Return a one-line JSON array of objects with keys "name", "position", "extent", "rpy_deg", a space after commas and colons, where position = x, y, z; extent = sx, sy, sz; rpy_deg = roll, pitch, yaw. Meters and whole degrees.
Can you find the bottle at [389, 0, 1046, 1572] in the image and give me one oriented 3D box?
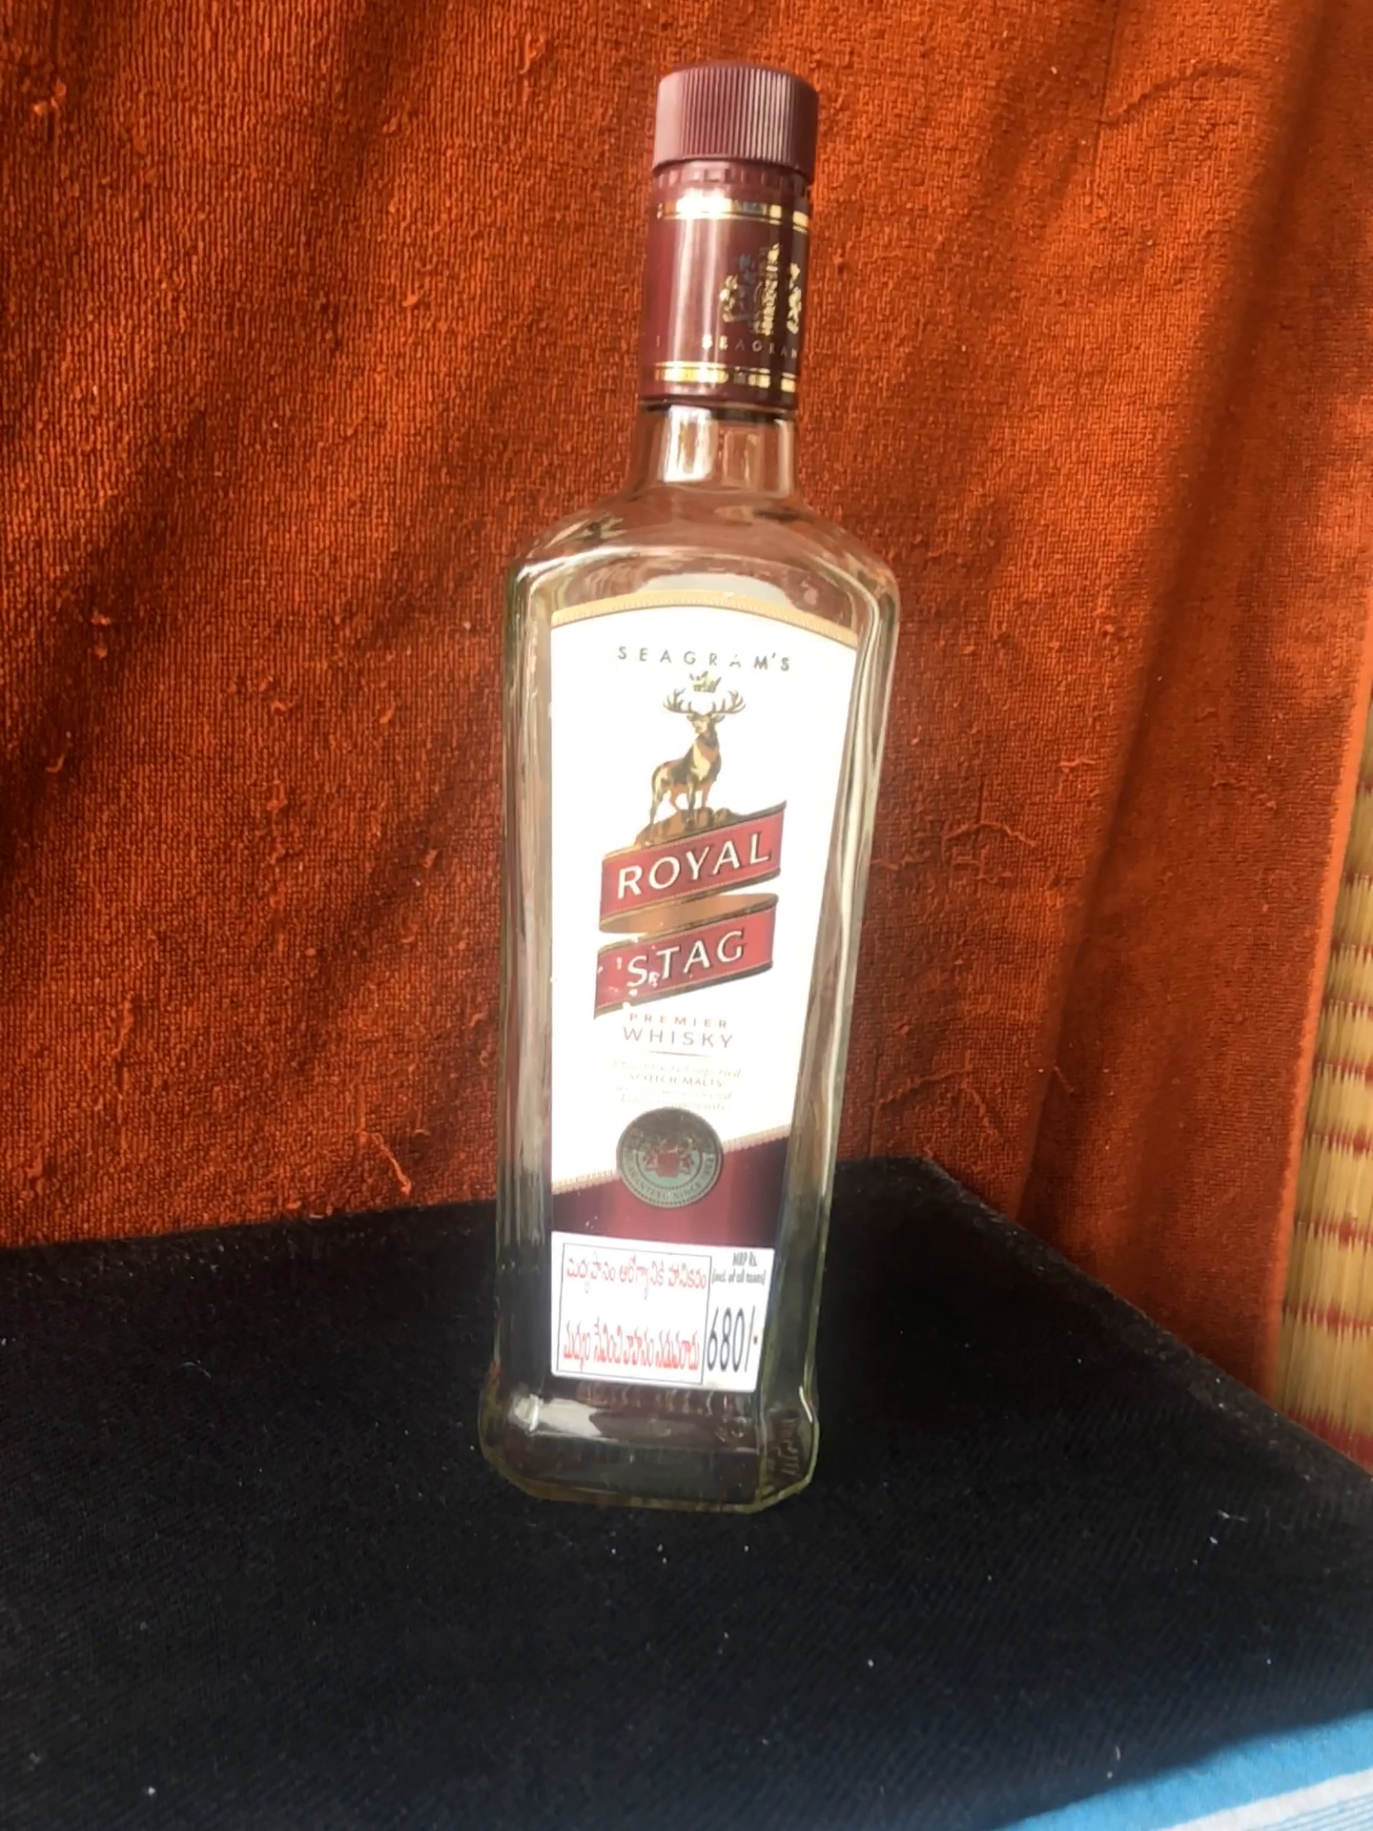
[{"name": "bottle", "position": [-0.002, -0.013, 0.313], "extent": [0.090, 0.289, 0.060], "rpy_deg": [6, 14, -3]}]
